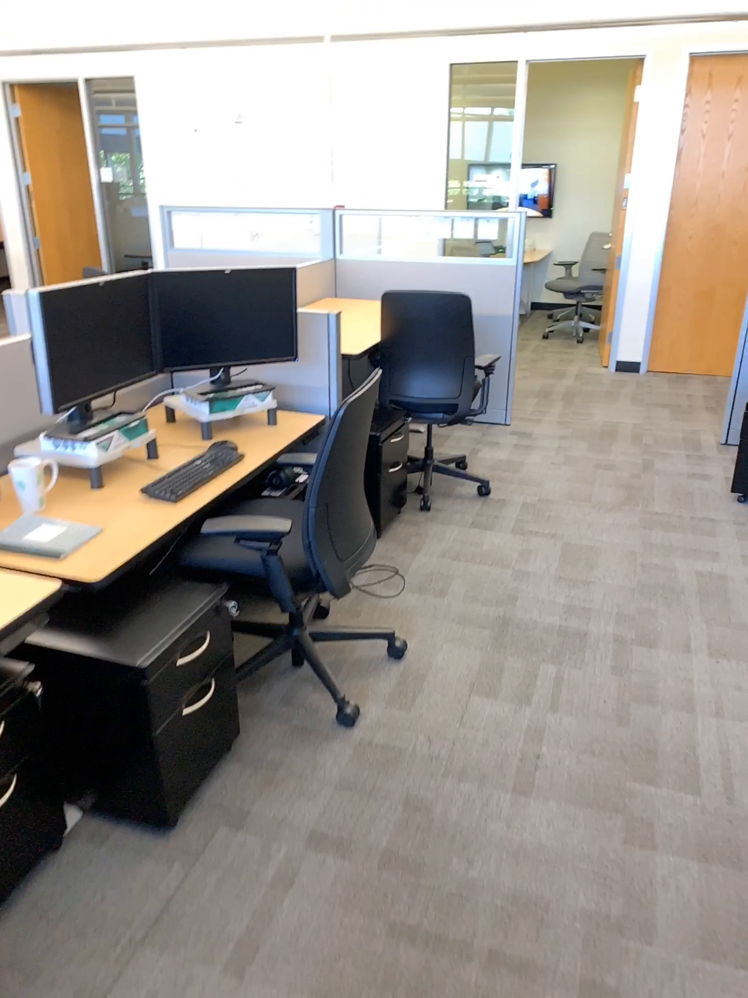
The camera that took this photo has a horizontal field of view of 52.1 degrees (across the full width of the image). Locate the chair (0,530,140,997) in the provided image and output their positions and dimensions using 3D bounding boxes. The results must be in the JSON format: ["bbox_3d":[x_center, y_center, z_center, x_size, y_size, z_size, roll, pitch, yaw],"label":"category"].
[{"bbox_3d":[-0.762,0.640,0.990,0.581,0.995,0.522,8,24,18],"label":"chair"}]

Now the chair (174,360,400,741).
[{"bbox_3d":[-0.231,0.132,2.404,0.461,0.995,0.542,8,24,19],"label":"chair"}]

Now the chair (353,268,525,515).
[{"bbox_3d":[0.329,-0.571,3.790,0.631,0.995,0.763,8,24,18],"label":"chair"}]
